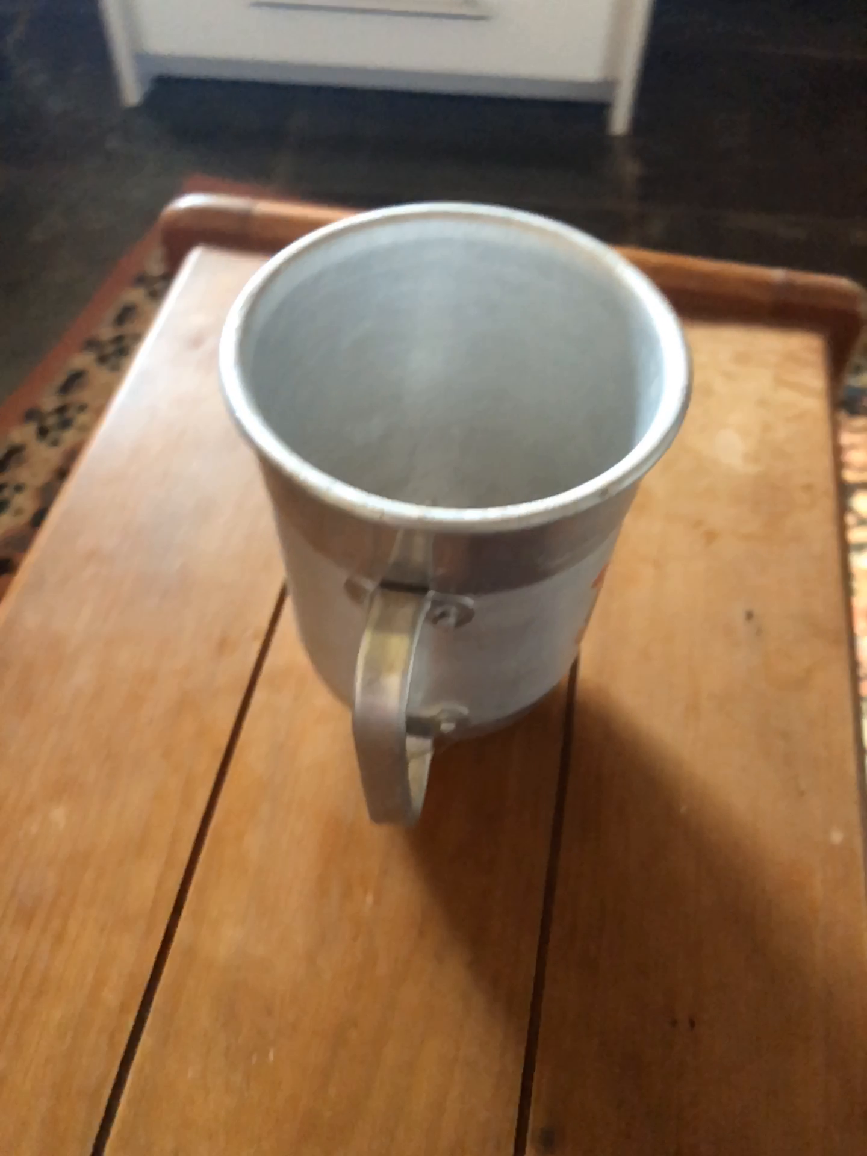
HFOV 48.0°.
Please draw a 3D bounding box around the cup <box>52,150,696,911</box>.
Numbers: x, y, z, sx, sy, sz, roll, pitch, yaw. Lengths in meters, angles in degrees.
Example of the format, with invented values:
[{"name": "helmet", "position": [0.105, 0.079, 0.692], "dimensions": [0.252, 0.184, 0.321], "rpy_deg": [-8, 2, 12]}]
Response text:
[{"name": "cup", "position": [-0.004, -0.007, 0.244], "dimensions": [0.100, 0.129, 0.121], "rpy_deg": [11, 54, 6]}]
